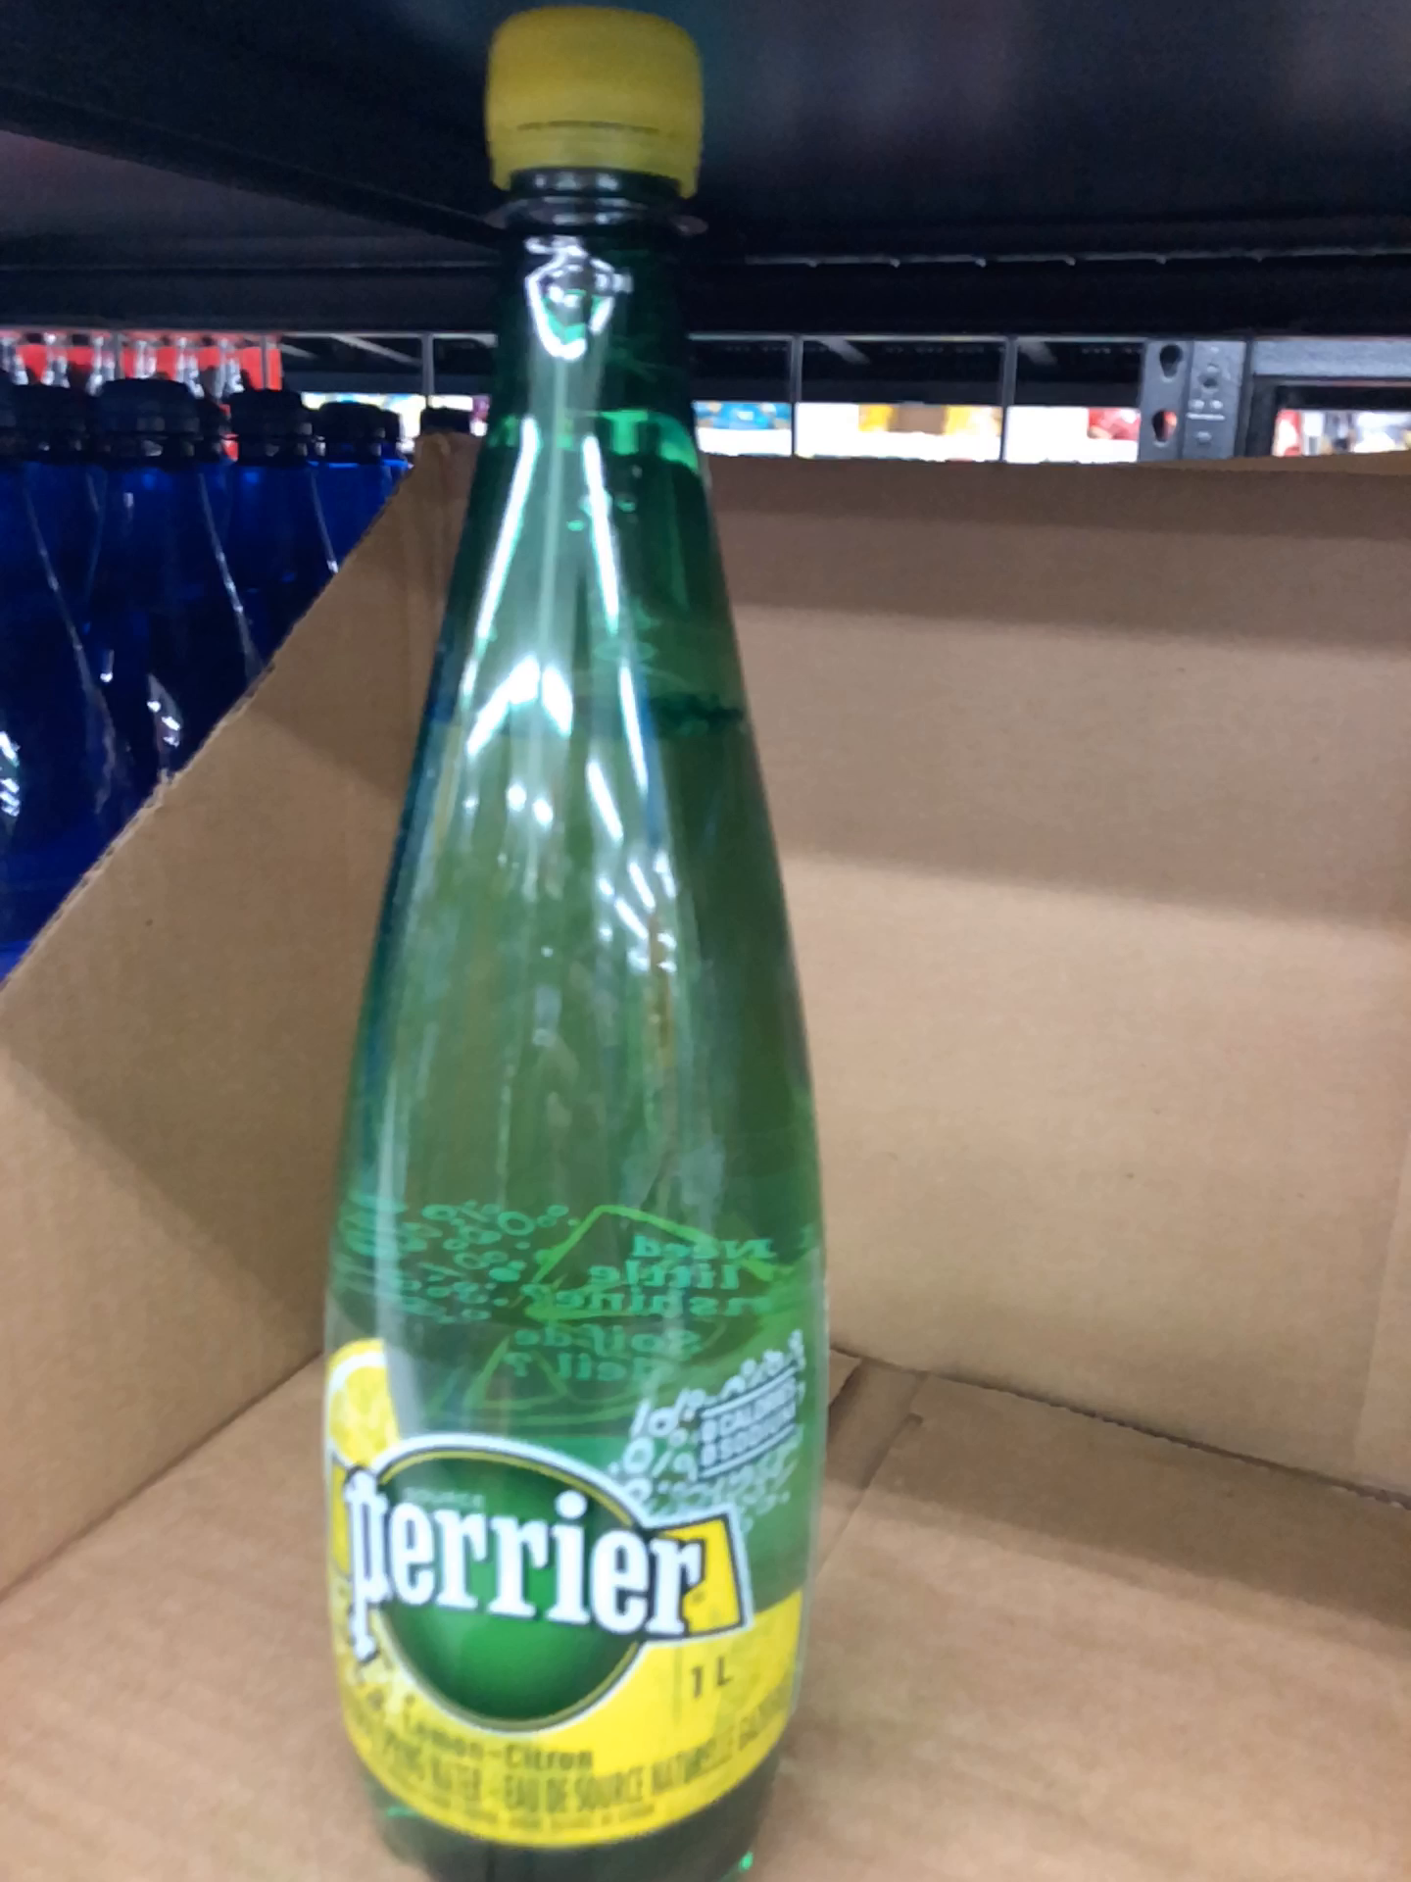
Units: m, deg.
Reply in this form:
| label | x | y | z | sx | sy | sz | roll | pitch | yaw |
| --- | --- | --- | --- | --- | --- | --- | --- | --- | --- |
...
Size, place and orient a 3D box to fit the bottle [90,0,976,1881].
| label | x | y | z | sx | sy | sz | roll | pitch | yaw |
| --- | --- | --- | --- | --- | --- | --- | --- | --- | --- |
| bottle | -0.022 | 0.016 | 0.261 | 0.100 | 0.318 | 0.080 | 6 | 17 | 16 |
